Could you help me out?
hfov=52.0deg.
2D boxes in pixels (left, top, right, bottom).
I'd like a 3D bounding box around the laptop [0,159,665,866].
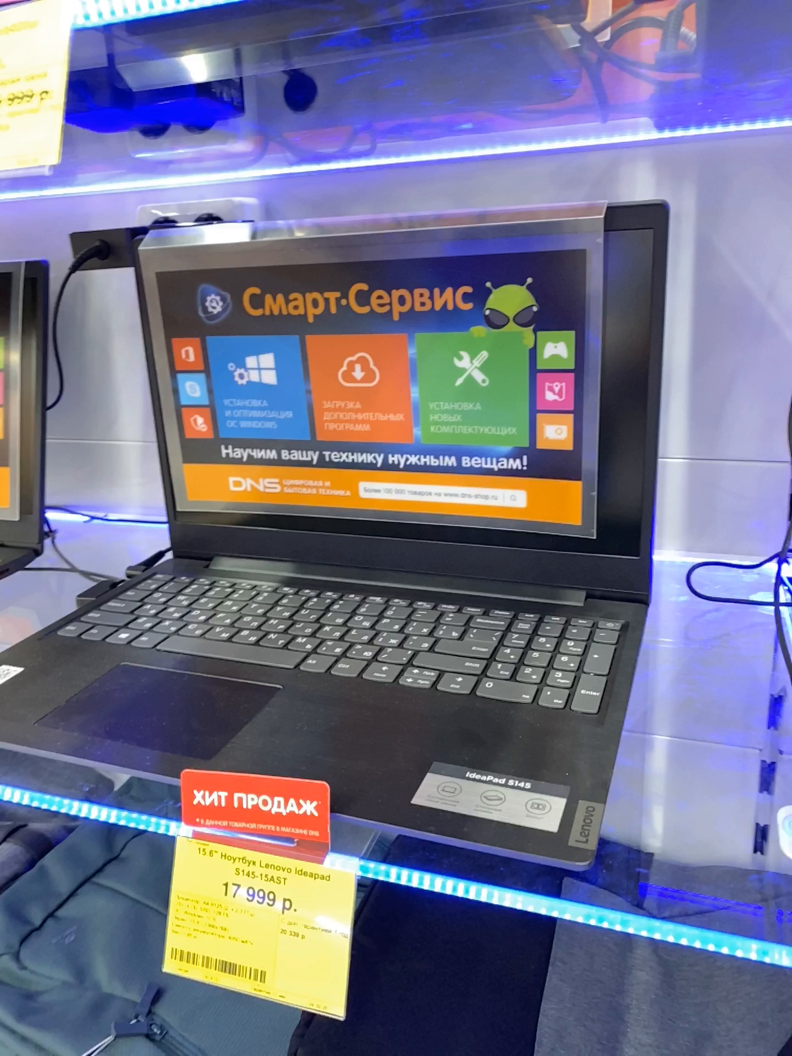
[{"bbox_3d":[-0.056,-0.040,0.443,0.362,0.239,0.258,4,18,20],"label":"laptop"}]
